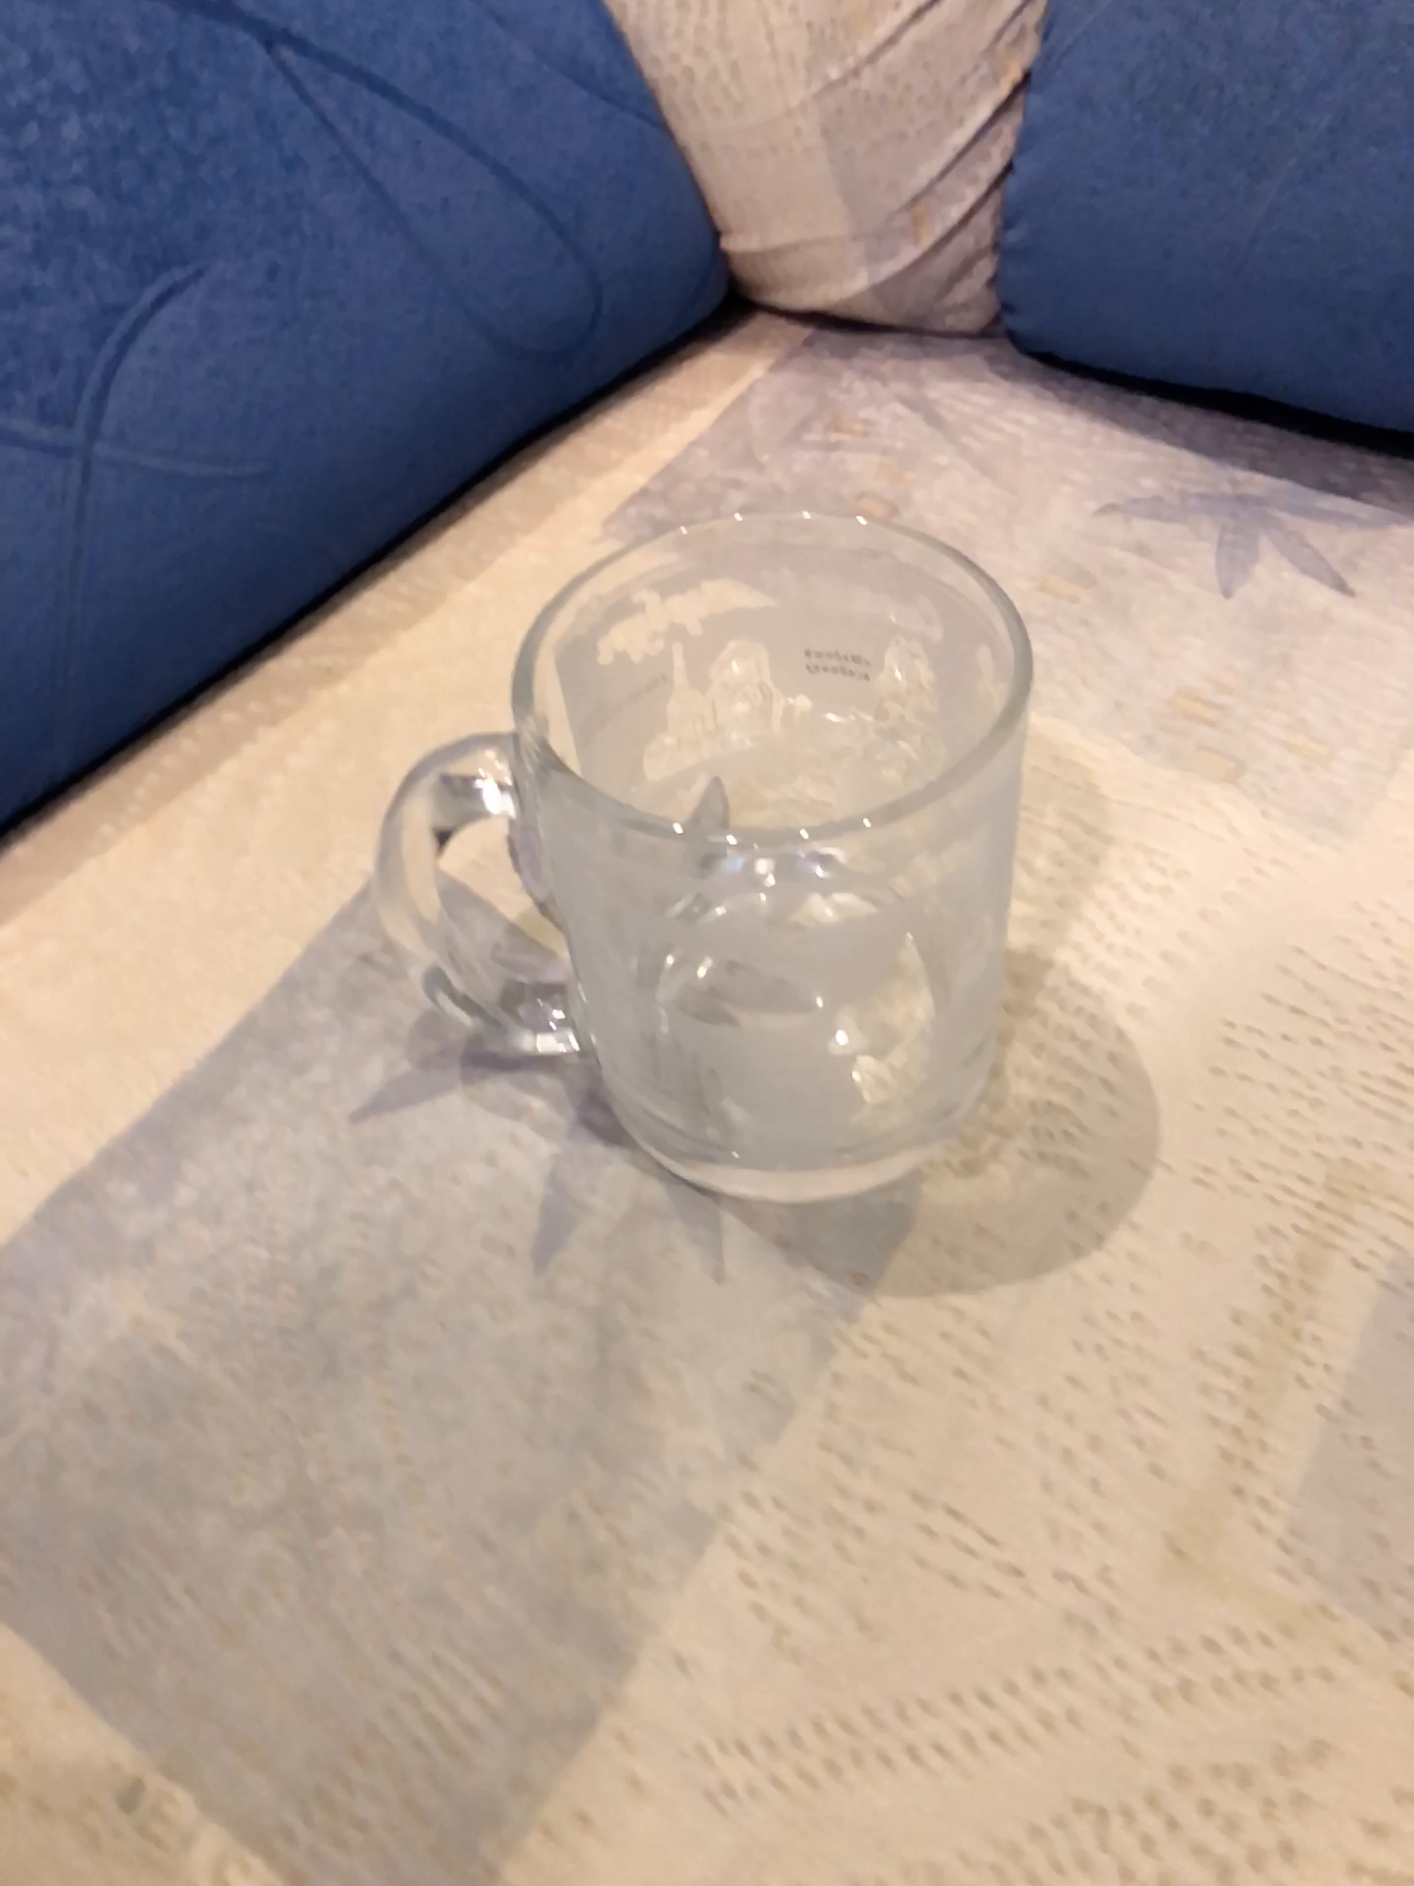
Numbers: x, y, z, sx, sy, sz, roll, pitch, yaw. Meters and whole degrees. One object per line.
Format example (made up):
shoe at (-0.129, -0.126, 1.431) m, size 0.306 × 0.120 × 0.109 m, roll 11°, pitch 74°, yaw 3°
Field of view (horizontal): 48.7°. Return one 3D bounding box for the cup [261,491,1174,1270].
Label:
cup at (0.002, -0.011, 0.264) m, size 0.120 × 0.079 × 0.091 m, roll -6°, pitch 47°, yaw 2°
